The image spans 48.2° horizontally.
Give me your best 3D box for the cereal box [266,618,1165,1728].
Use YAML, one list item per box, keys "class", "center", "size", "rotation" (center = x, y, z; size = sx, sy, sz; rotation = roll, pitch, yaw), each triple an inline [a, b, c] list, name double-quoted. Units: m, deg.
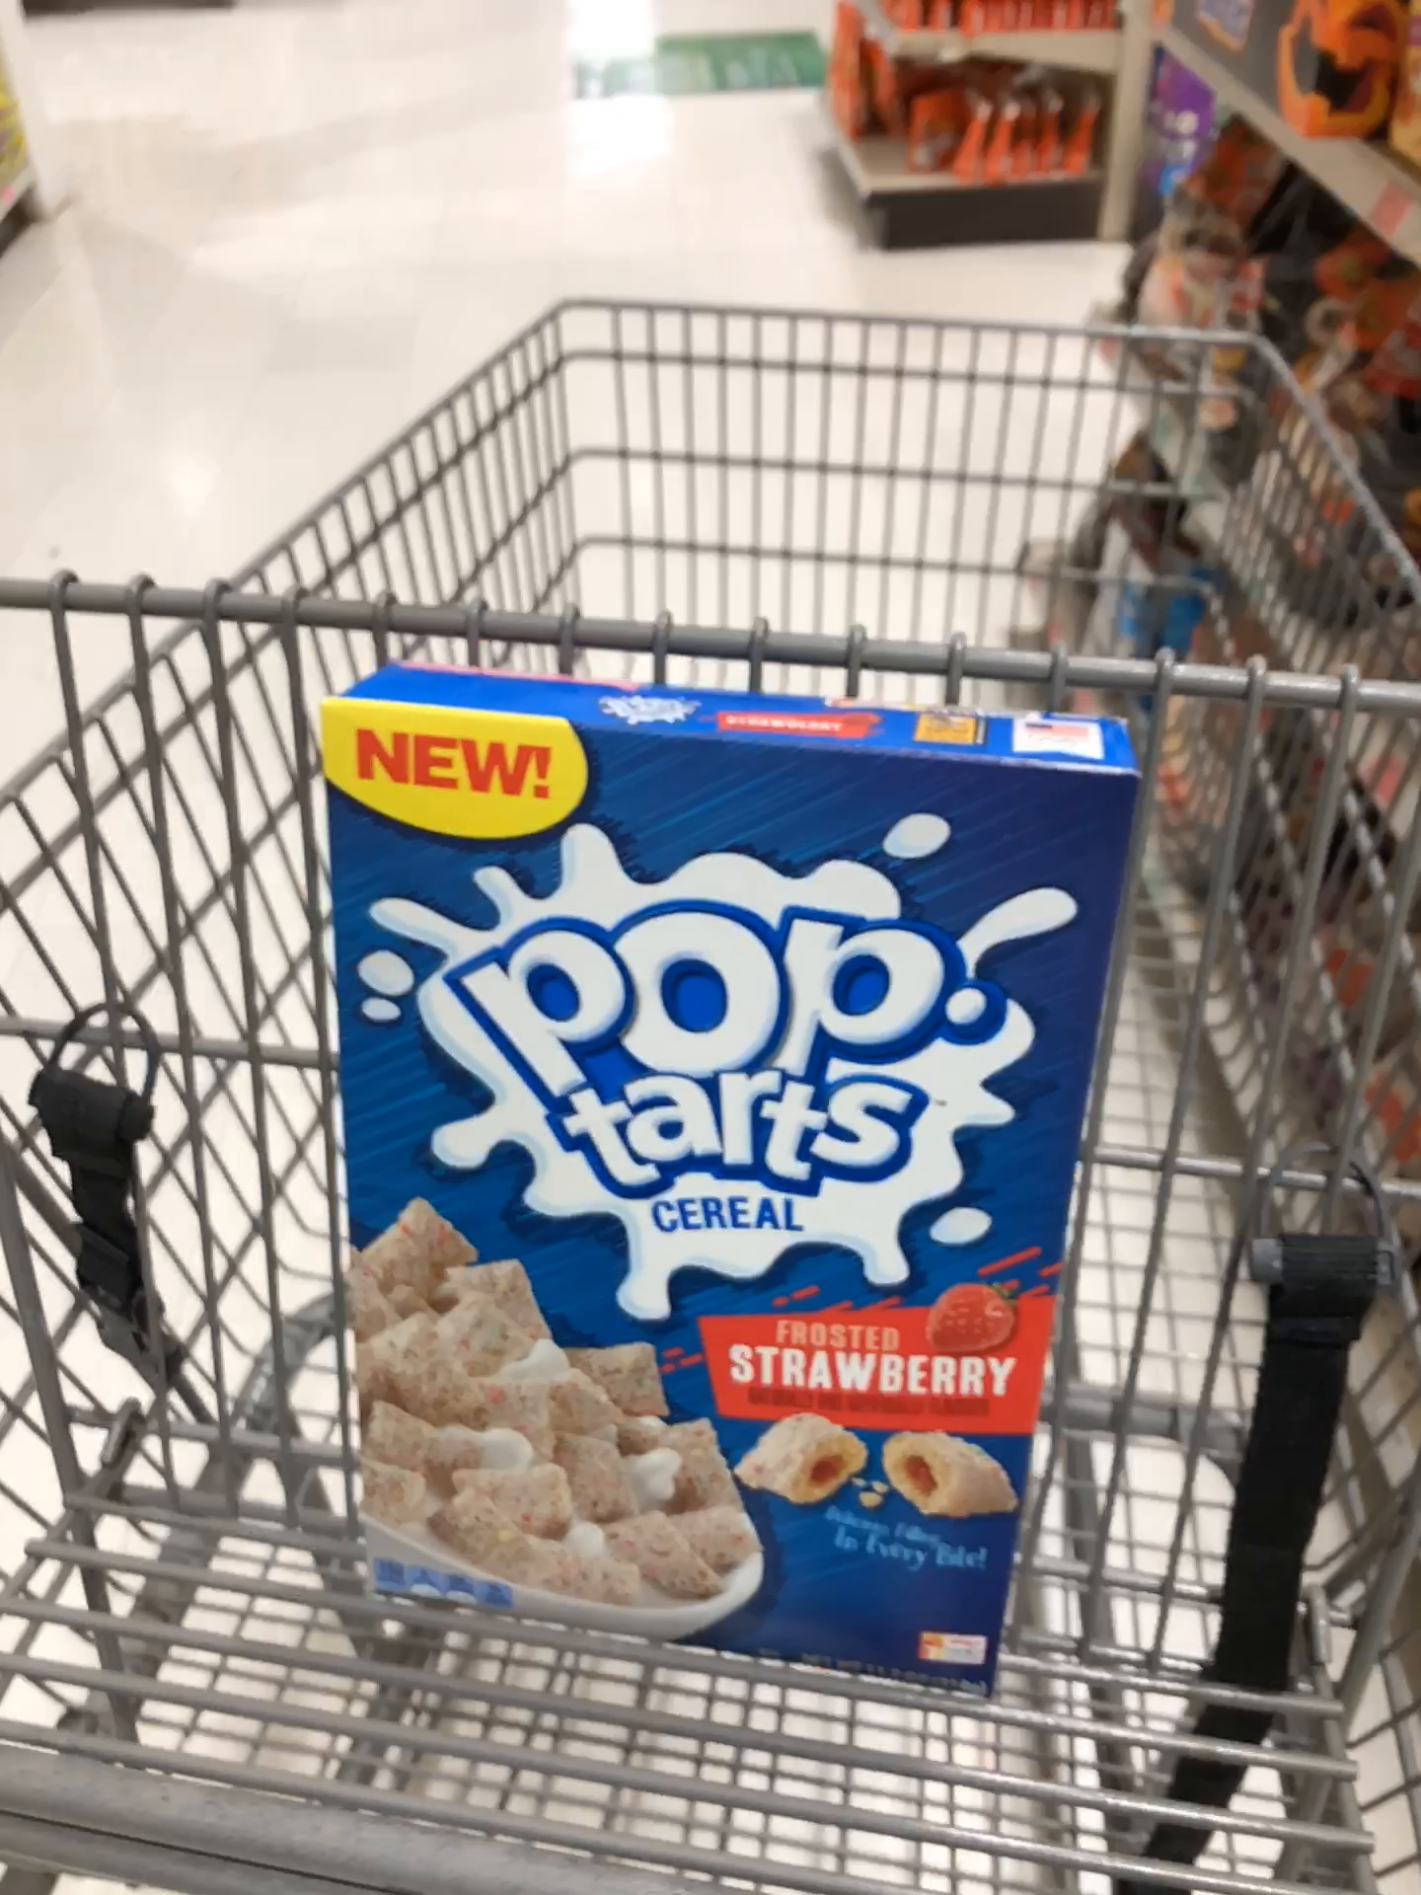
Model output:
- class: "cereal box"
  center: [-0.003, 0.064, 0.422]
  size: [0.200, 0.280, 0.050]
  rotation: [6, 22, 10]
